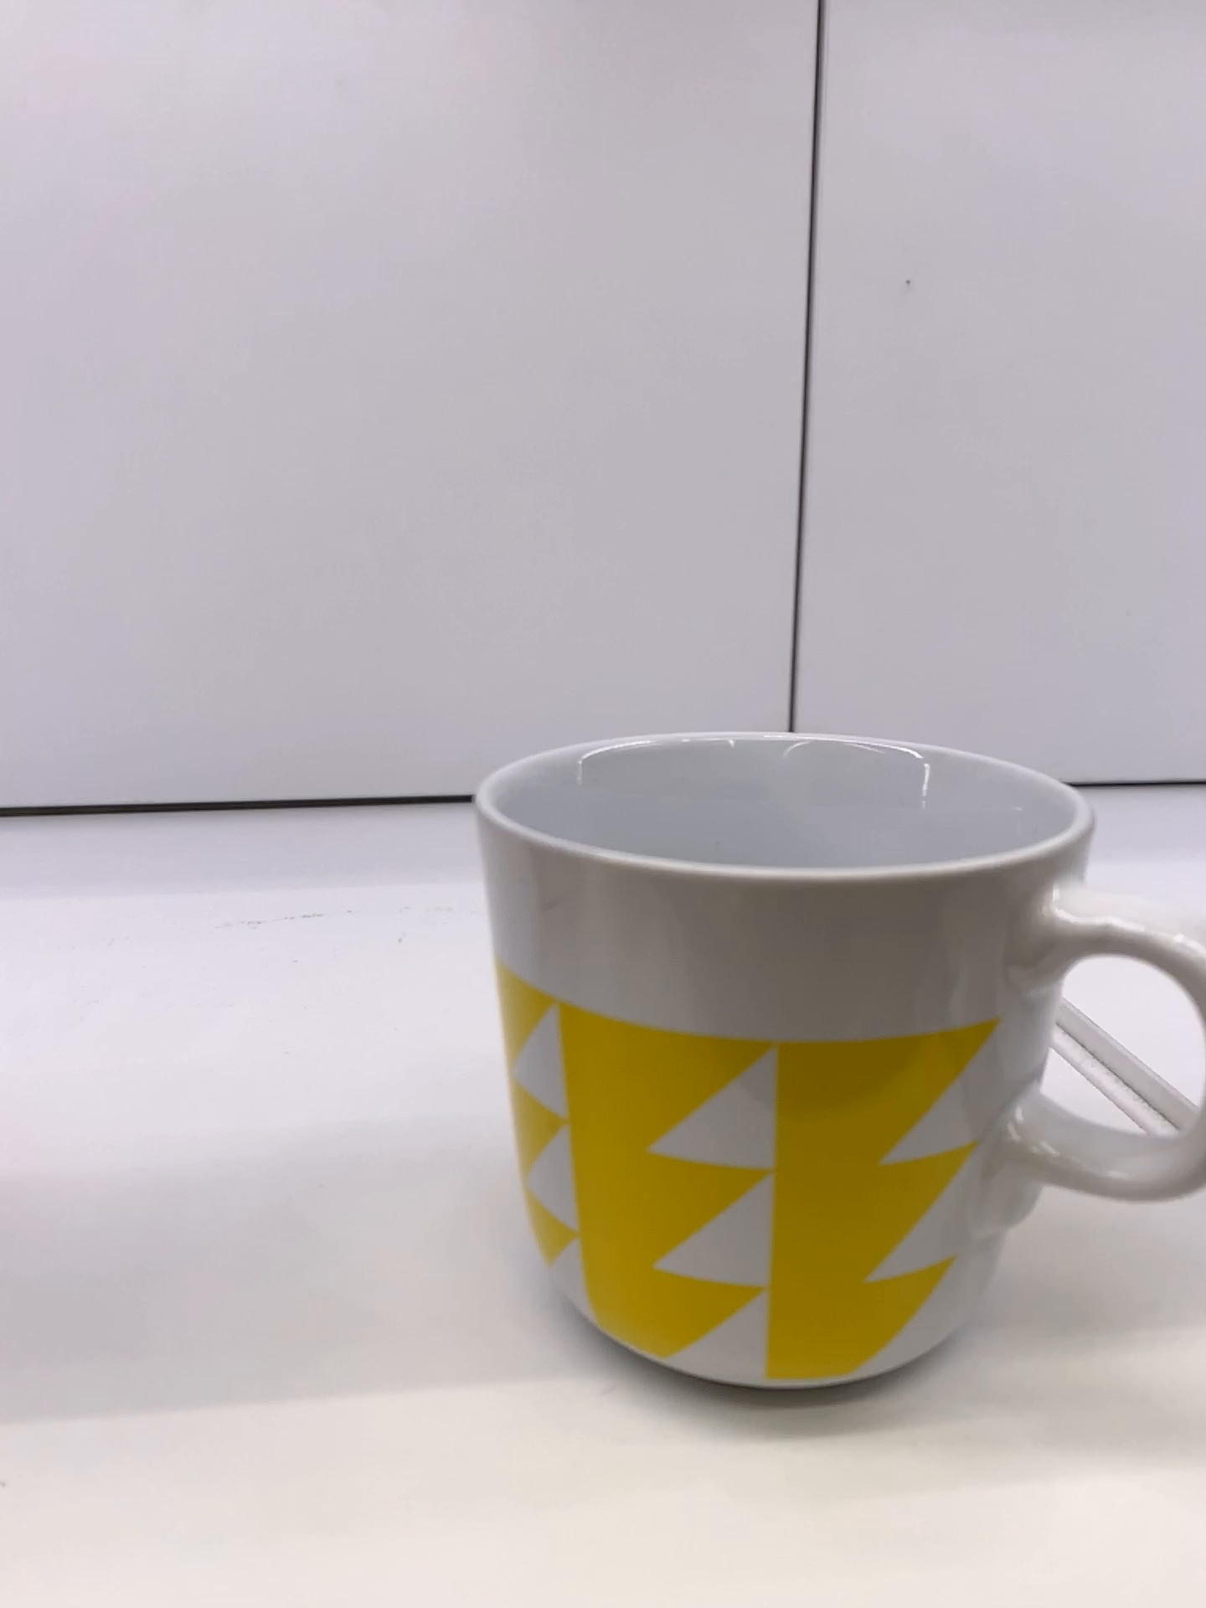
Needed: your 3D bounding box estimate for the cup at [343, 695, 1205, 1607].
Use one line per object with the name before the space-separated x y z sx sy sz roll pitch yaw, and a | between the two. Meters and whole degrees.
cup | 0.034 0.028 0.165 0.107 0.065 0.084 11 17 40
